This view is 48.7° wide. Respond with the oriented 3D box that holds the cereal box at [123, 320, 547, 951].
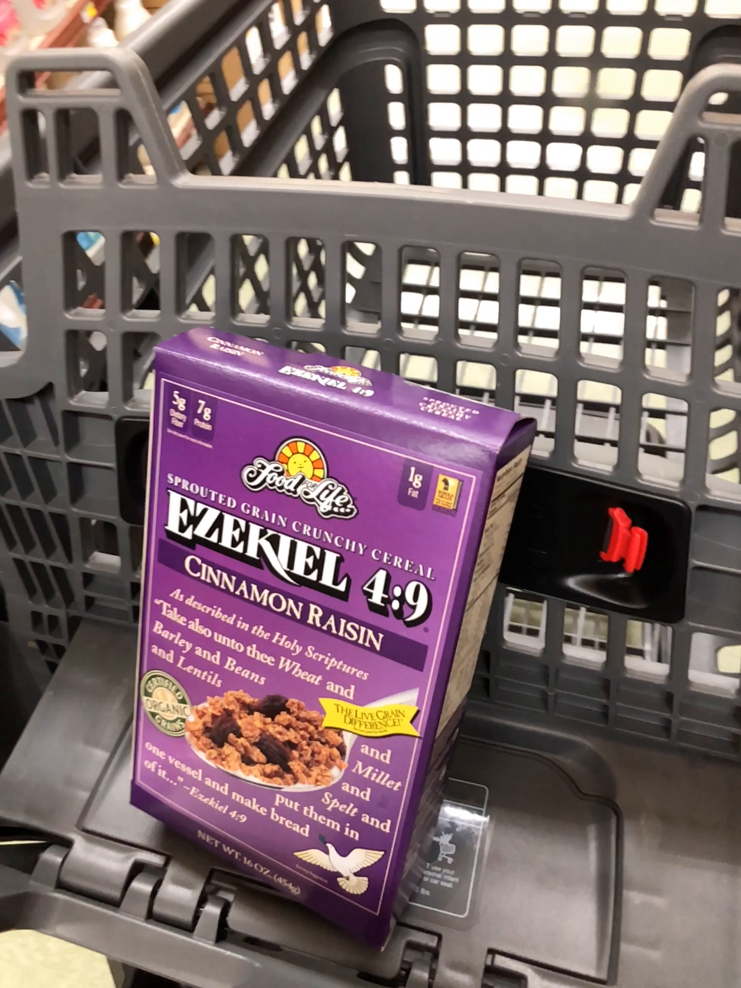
[{"bbox_3d":[-0.029,0.064,0.377,0.150,0.250,0.060,19,24,20],"label":"cereal box"}]
